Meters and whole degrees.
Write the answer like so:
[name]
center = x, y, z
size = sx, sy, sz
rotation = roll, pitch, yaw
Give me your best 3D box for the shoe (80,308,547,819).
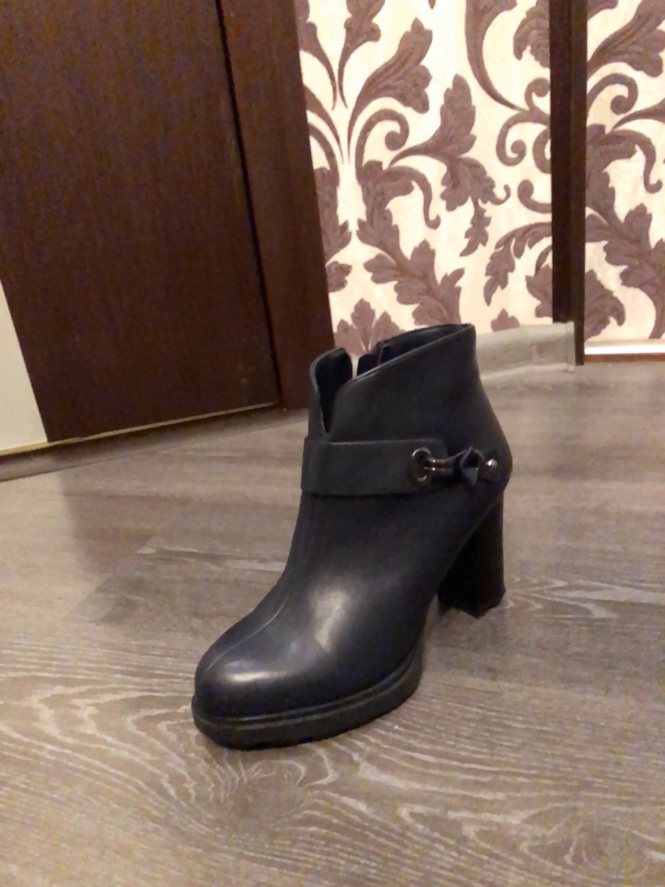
[shoe]
center = 0.007, 0.046, 0.429
size = 0.231, 0.189, 0.110
rotation = -23, 26, -33
